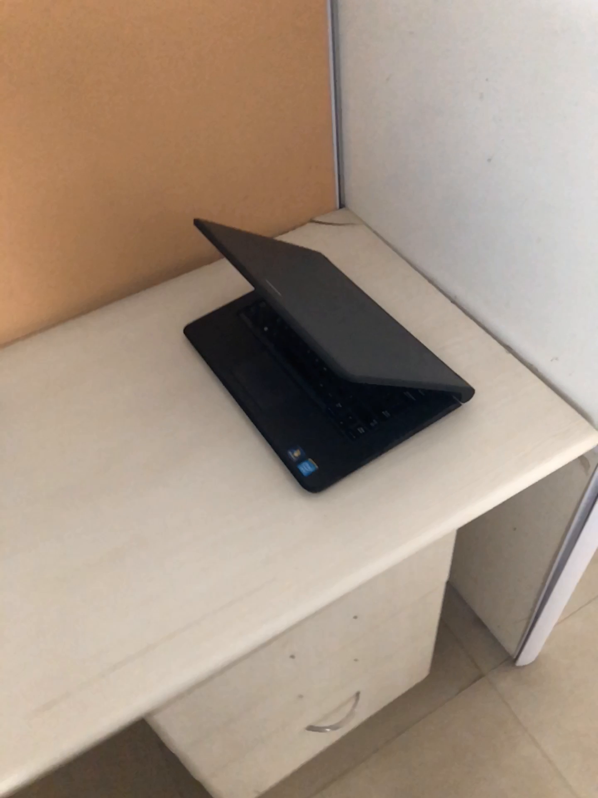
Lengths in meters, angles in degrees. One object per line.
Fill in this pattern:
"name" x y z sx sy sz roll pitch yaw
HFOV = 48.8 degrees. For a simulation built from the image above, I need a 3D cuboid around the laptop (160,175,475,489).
"laptop" 0.012 -0.098 0.795 0.216 0.154 0.319 -28 52 -18
